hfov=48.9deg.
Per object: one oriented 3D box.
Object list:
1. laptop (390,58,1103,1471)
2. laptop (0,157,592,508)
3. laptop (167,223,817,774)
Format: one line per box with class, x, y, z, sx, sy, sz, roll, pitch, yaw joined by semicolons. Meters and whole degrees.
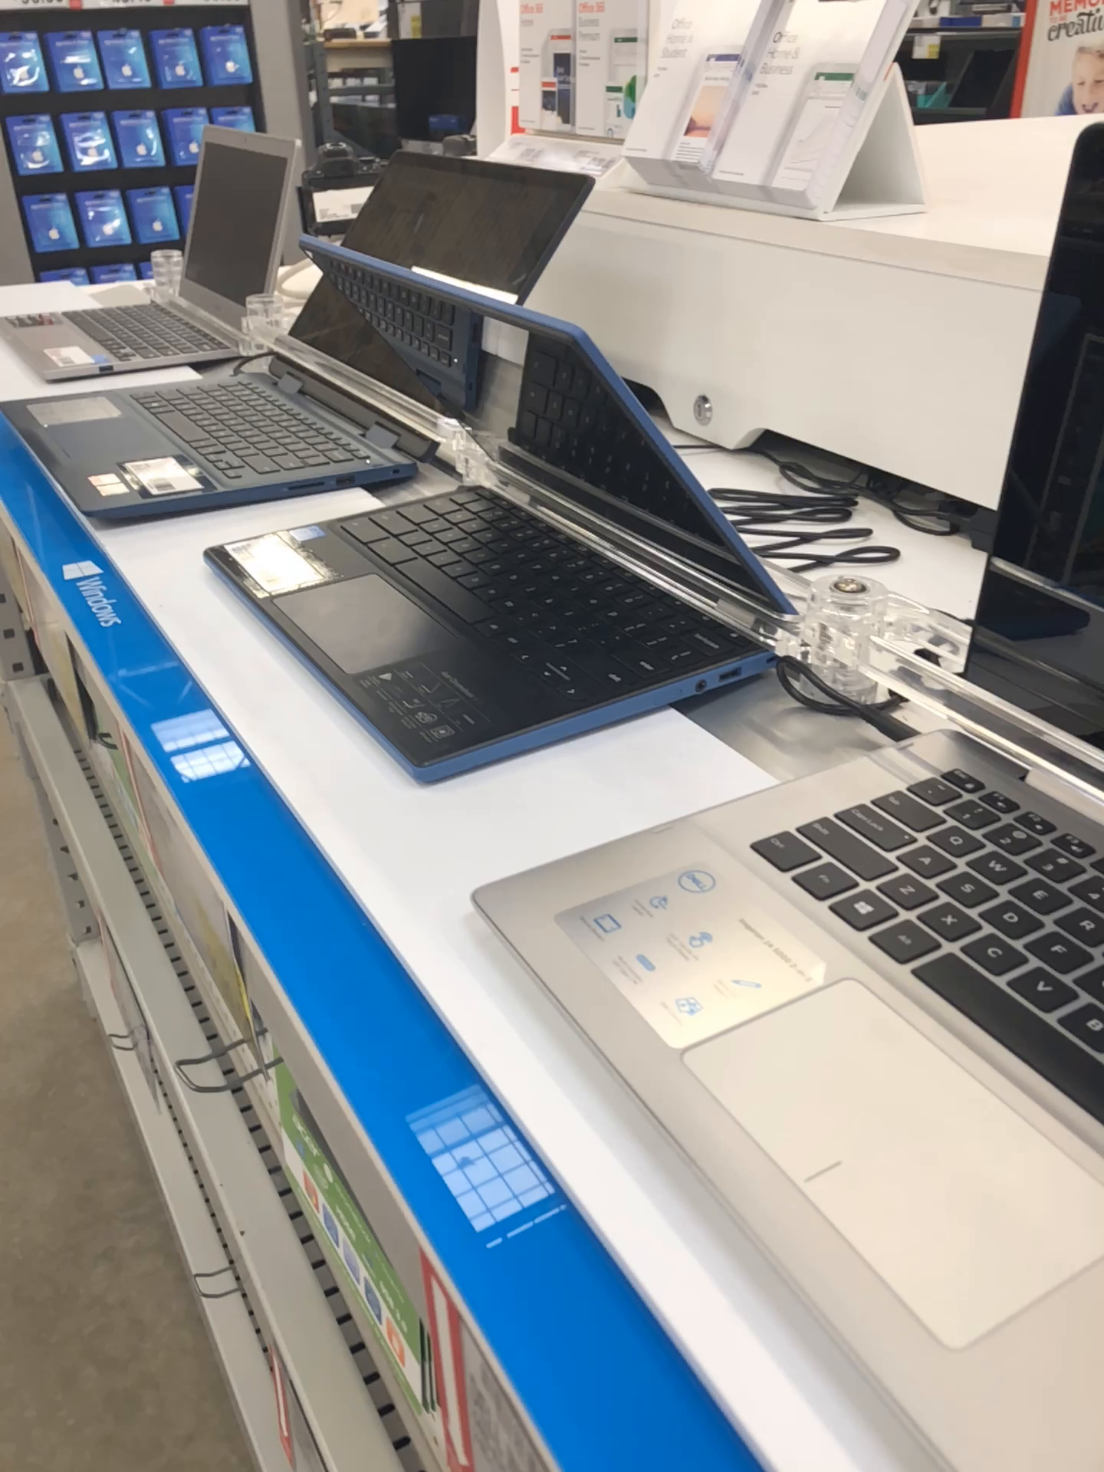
laptop;0.163;-0.005;0.269;0.255;0.218;0.342;-17;31;-23
laptop;-0.209;-0.325;0.911;0.367;0.169;0.306;-16;33;-26
laptop;-0.045;-0.144;0.601;0.194;0.159;0.295;-17;33;-24
